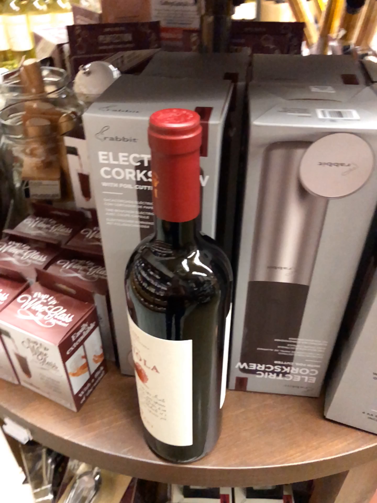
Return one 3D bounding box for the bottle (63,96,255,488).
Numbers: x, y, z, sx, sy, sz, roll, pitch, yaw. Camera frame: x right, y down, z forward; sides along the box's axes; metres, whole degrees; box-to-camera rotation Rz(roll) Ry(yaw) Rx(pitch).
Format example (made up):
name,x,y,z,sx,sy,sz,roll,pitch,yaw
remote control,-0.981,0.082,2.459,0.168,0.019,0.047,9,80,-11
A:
name,x,y,z,sx,sy,sz,roll,pitch,yaw
bottle,-0.015,0.050,0.301,0.072,0.285,0.076,-1,37,1
